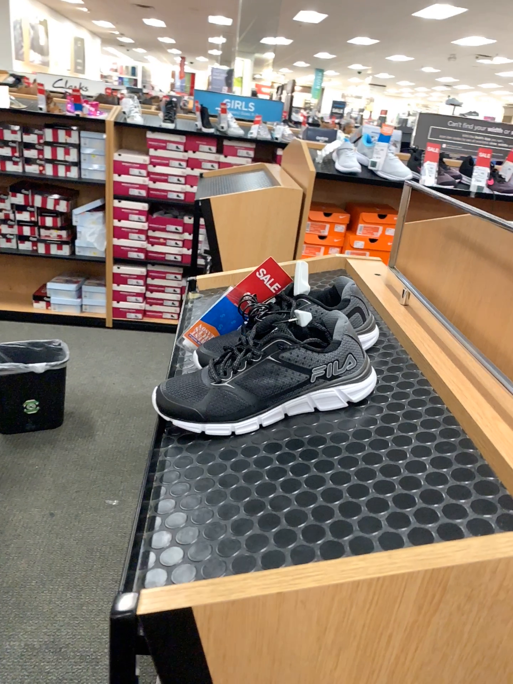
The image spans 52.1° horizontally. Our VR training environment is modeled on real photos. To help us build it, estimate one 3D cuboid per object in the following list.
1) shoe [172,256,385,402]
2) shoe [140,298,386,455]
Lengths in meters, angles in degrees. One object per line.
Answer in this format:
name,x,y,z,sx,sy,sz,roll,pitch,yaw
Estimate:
shoe,0.027,-0.022,0.675,0.244,0.090,0.100,-17,28,-6
shoe,0.005,0.031,0.588,0.244,0.090,0.100,-14,17,-5
